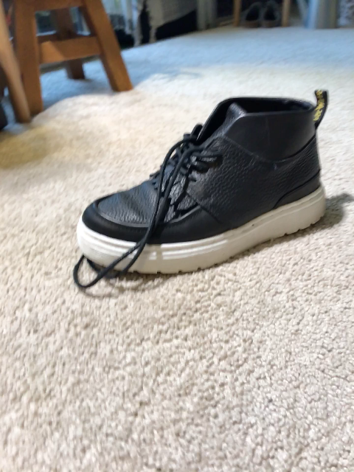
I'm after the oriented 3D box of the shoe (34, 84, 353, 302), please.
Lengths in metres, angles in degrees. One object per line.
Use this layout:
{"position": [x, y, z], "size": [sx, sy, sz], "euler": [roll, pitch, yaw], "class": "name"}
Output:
{"position": [0.023, -0.052, 0.353], "size": [0.262, 0.111, 0.107], "euler": [-14, 35, -15], "class": "shoe"}
